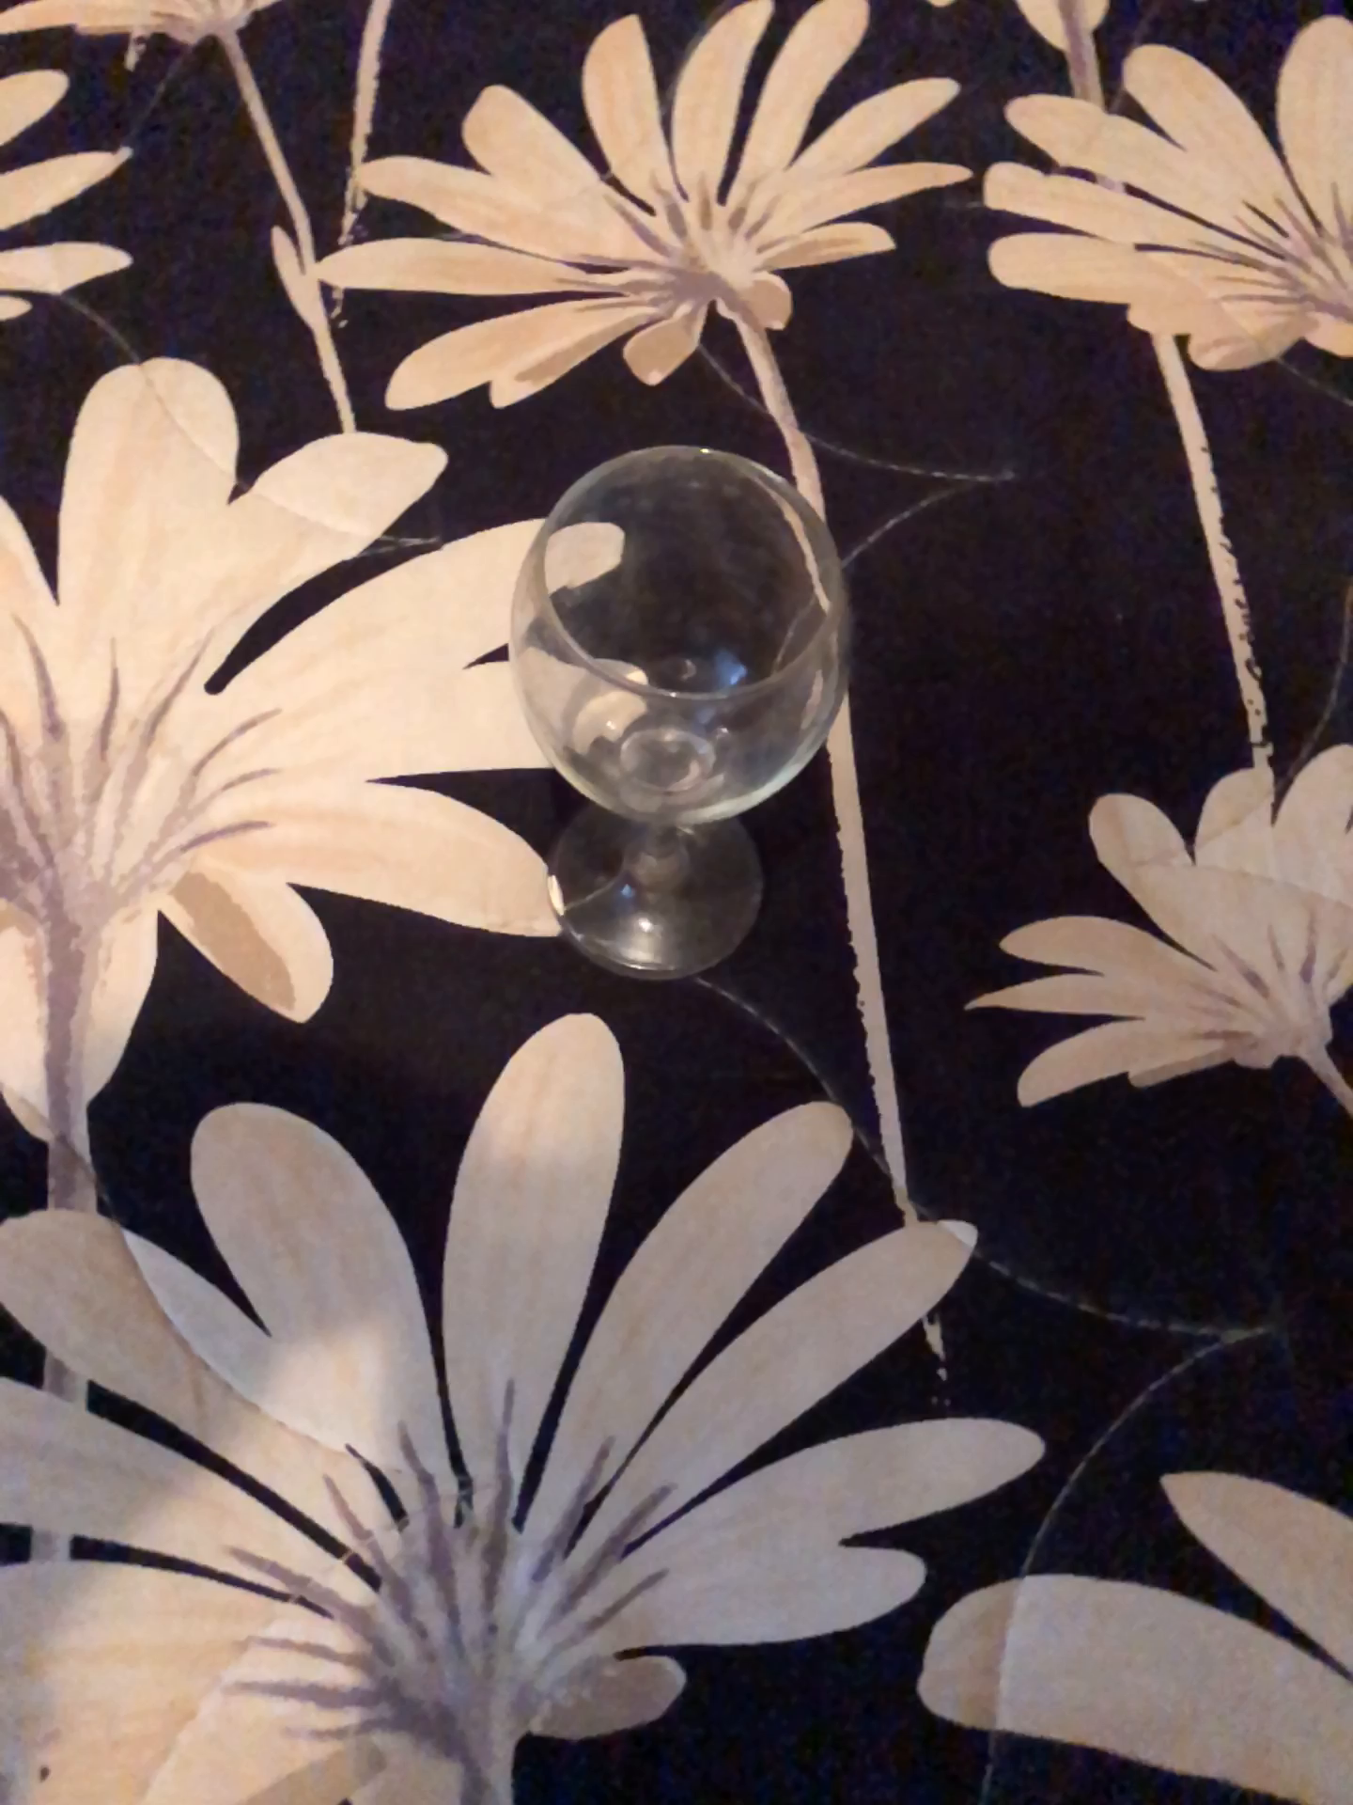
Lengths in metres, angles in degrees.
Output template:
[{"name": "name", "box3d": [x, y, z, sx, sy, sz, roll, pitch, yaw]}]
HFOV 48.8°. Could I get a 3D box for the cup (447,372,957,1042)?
[{"name": "cup", "box3d": [0.003, -0.038, 0.365, 0.084, 0.139, 0.082, 2, 66, -4]}]
